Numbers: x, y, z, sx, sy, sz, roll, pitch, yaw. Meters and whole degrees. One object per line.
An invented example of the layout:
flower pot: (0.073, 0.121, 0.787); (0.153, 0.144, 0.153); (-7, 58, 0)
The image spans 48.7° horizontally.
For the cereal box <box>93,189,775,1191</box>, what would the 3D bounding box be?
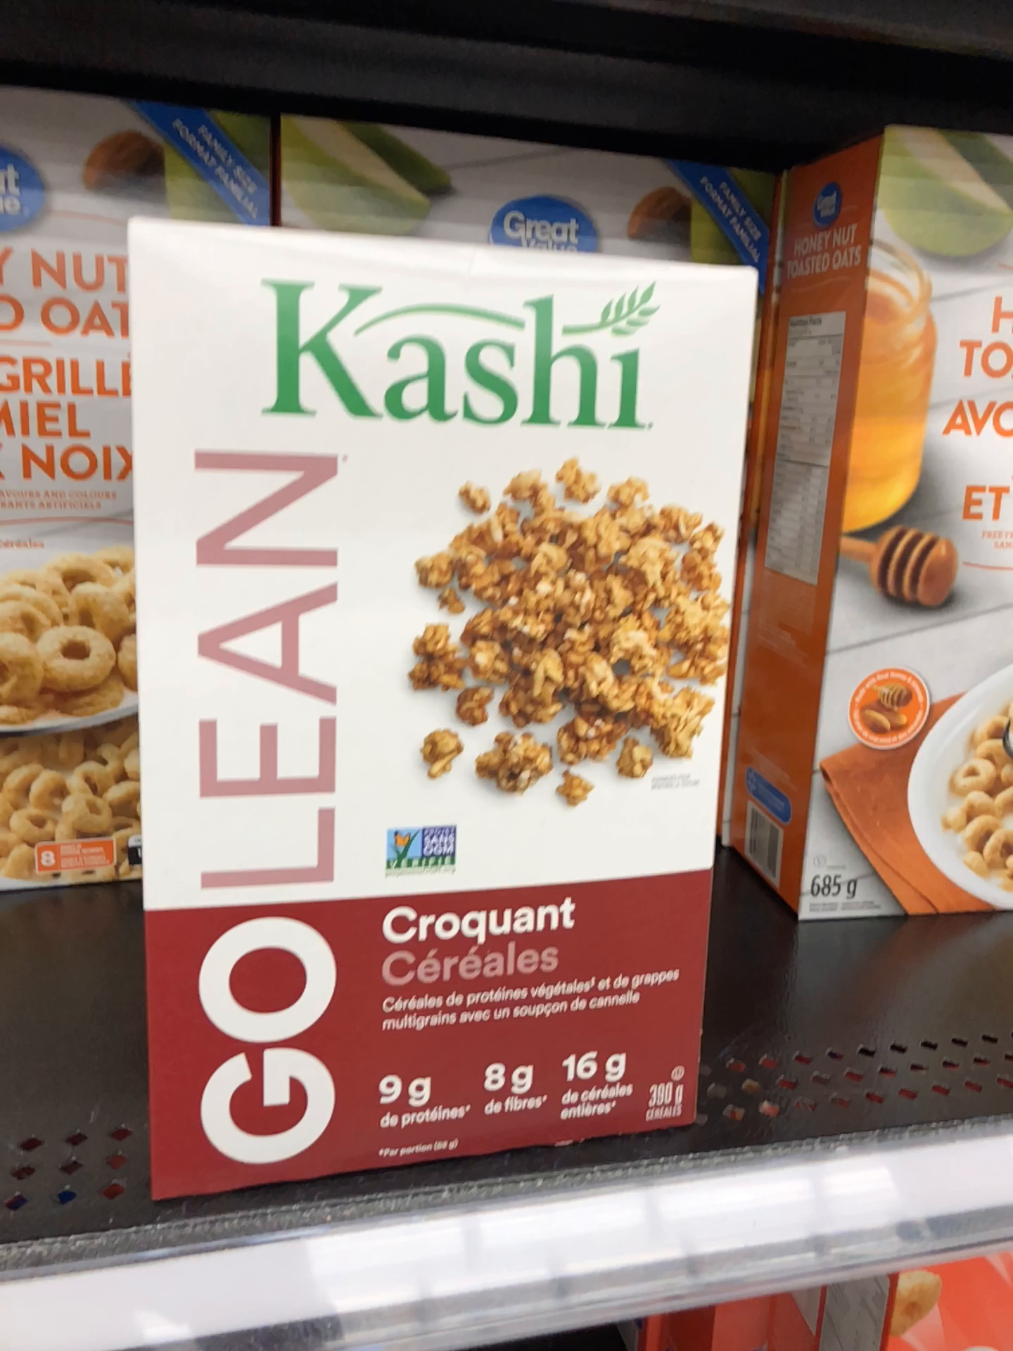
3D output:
cereal box: (-0.023, 0.009, 0.327); (0.170, 0.259, 0.050); (-1, 14, -16)
